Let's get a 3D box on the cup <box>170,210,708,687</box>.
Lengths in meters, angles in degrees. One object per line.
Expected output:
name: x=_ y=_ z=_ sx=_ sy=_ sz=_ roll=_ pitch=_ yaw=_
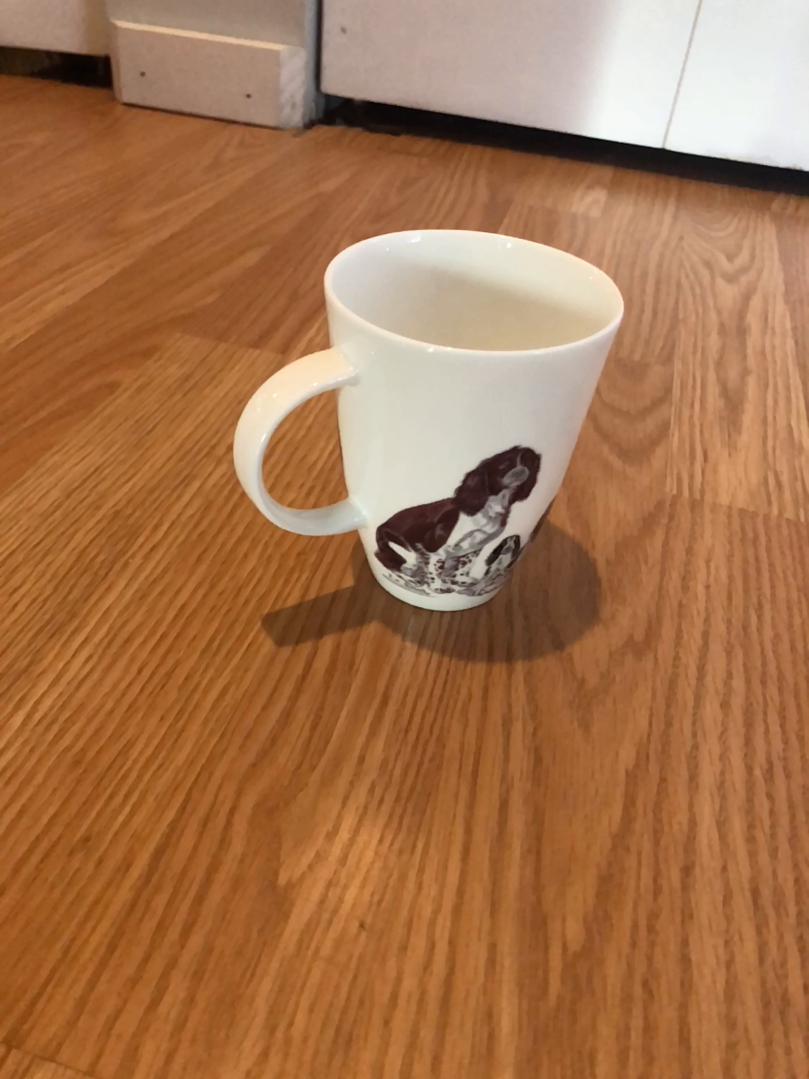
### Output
cup: x=0.005 y=-0.035 z=0.276 sx=0.120 sy=0.090 sz=0.090 roll=-16 pitch=44 yaw=-27
